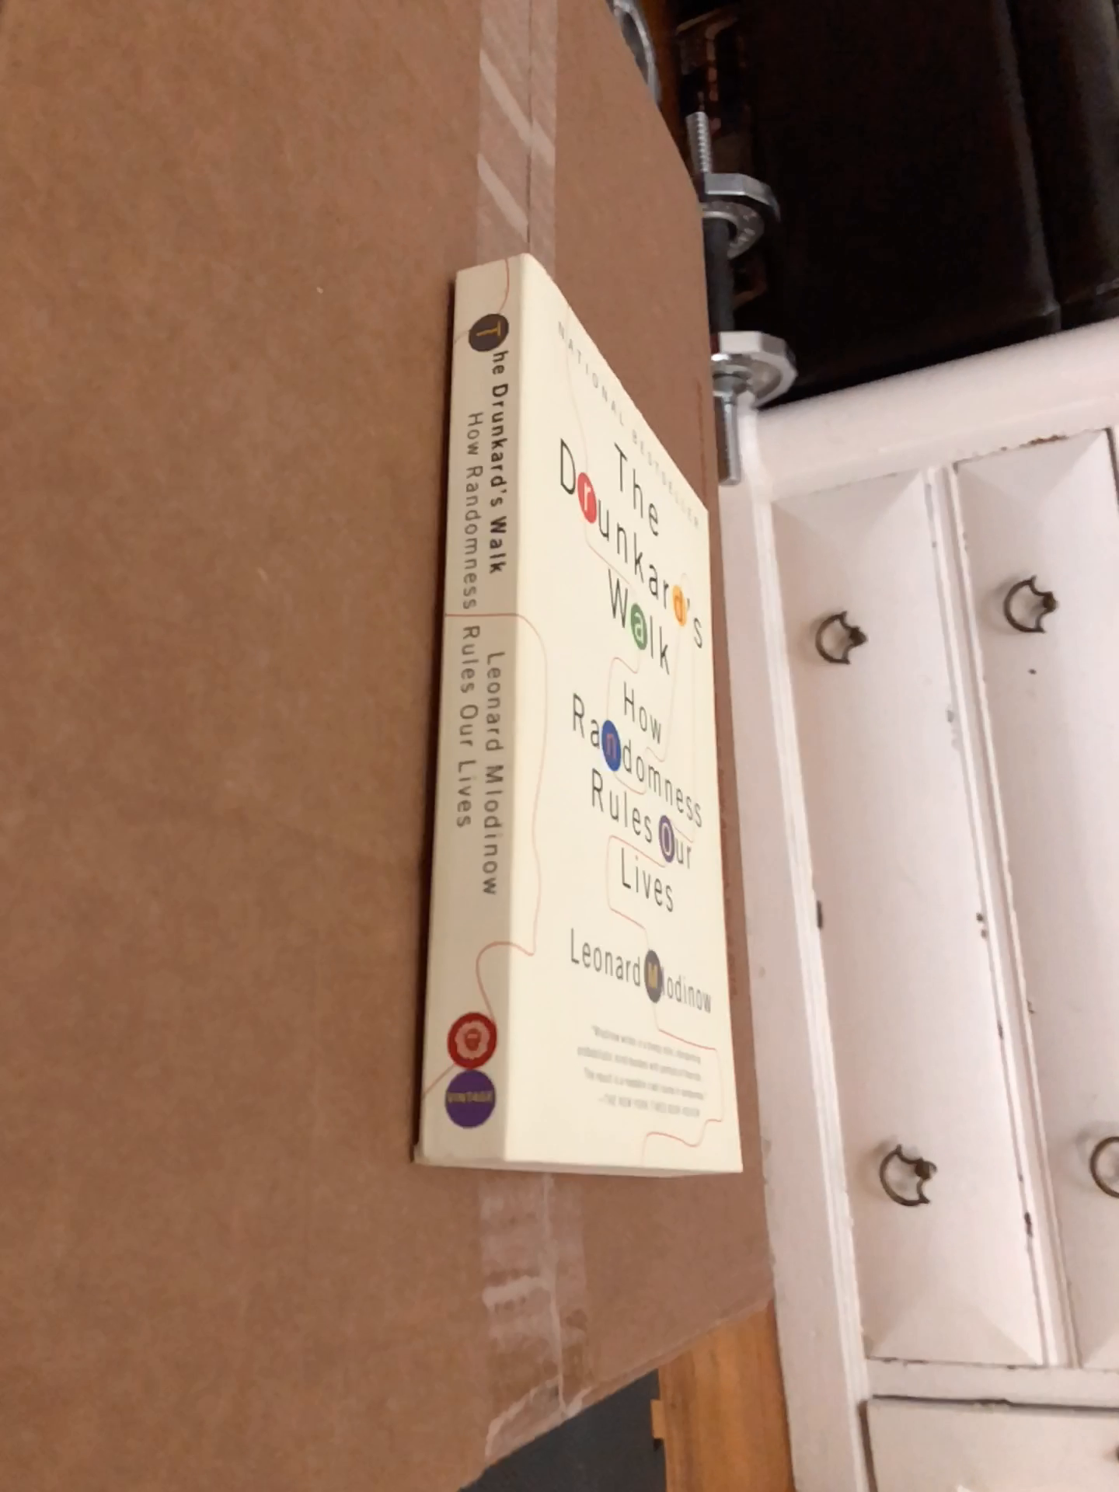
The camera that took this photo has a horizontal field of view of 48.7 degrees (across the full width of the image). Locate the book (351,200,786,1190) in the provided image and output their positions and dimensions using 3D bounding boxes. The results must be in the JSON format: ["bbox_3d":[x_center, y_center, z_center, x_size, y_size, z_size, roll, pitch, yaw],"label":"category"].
[{"bbox_3d":[0.011,0.000,0.312,0.141,0.040,0.210,34,51,-58],"label":"book"}]
